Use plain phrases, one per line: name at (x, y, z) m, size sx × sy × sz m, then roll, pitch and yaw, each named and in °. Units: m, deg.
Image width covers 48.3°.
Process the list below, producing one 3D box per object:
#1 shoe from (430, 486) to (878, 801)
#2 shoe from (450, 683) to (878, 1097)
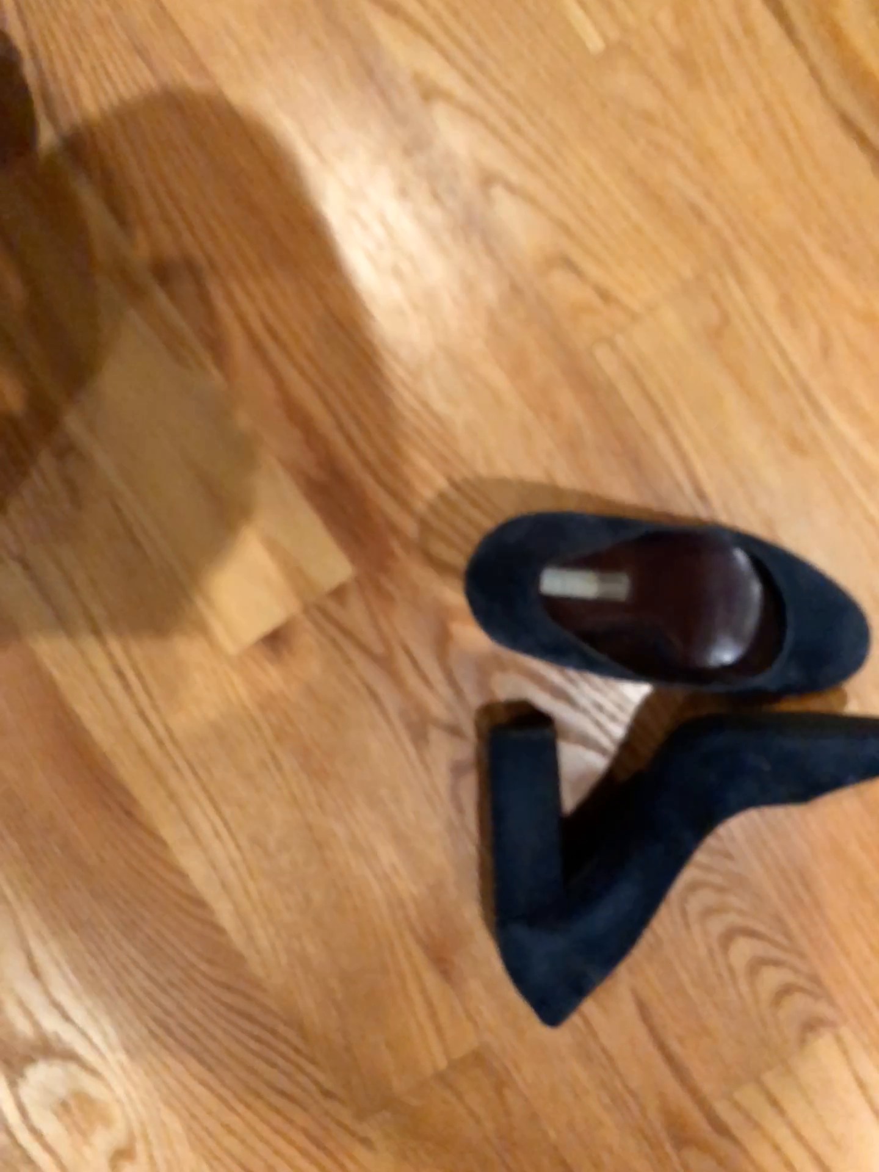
shoe at (0.116, 0.016, 0.421) m, size 0.226 × 0.147 × 0.080 m, roll 8°, pitch 94°, yaw 1°
shoe at (0.114, 0.135, 0.457) m, size 0.204 × 0.080 × 0.152 m, roll -5°, pitch 93°, yaw 2°
